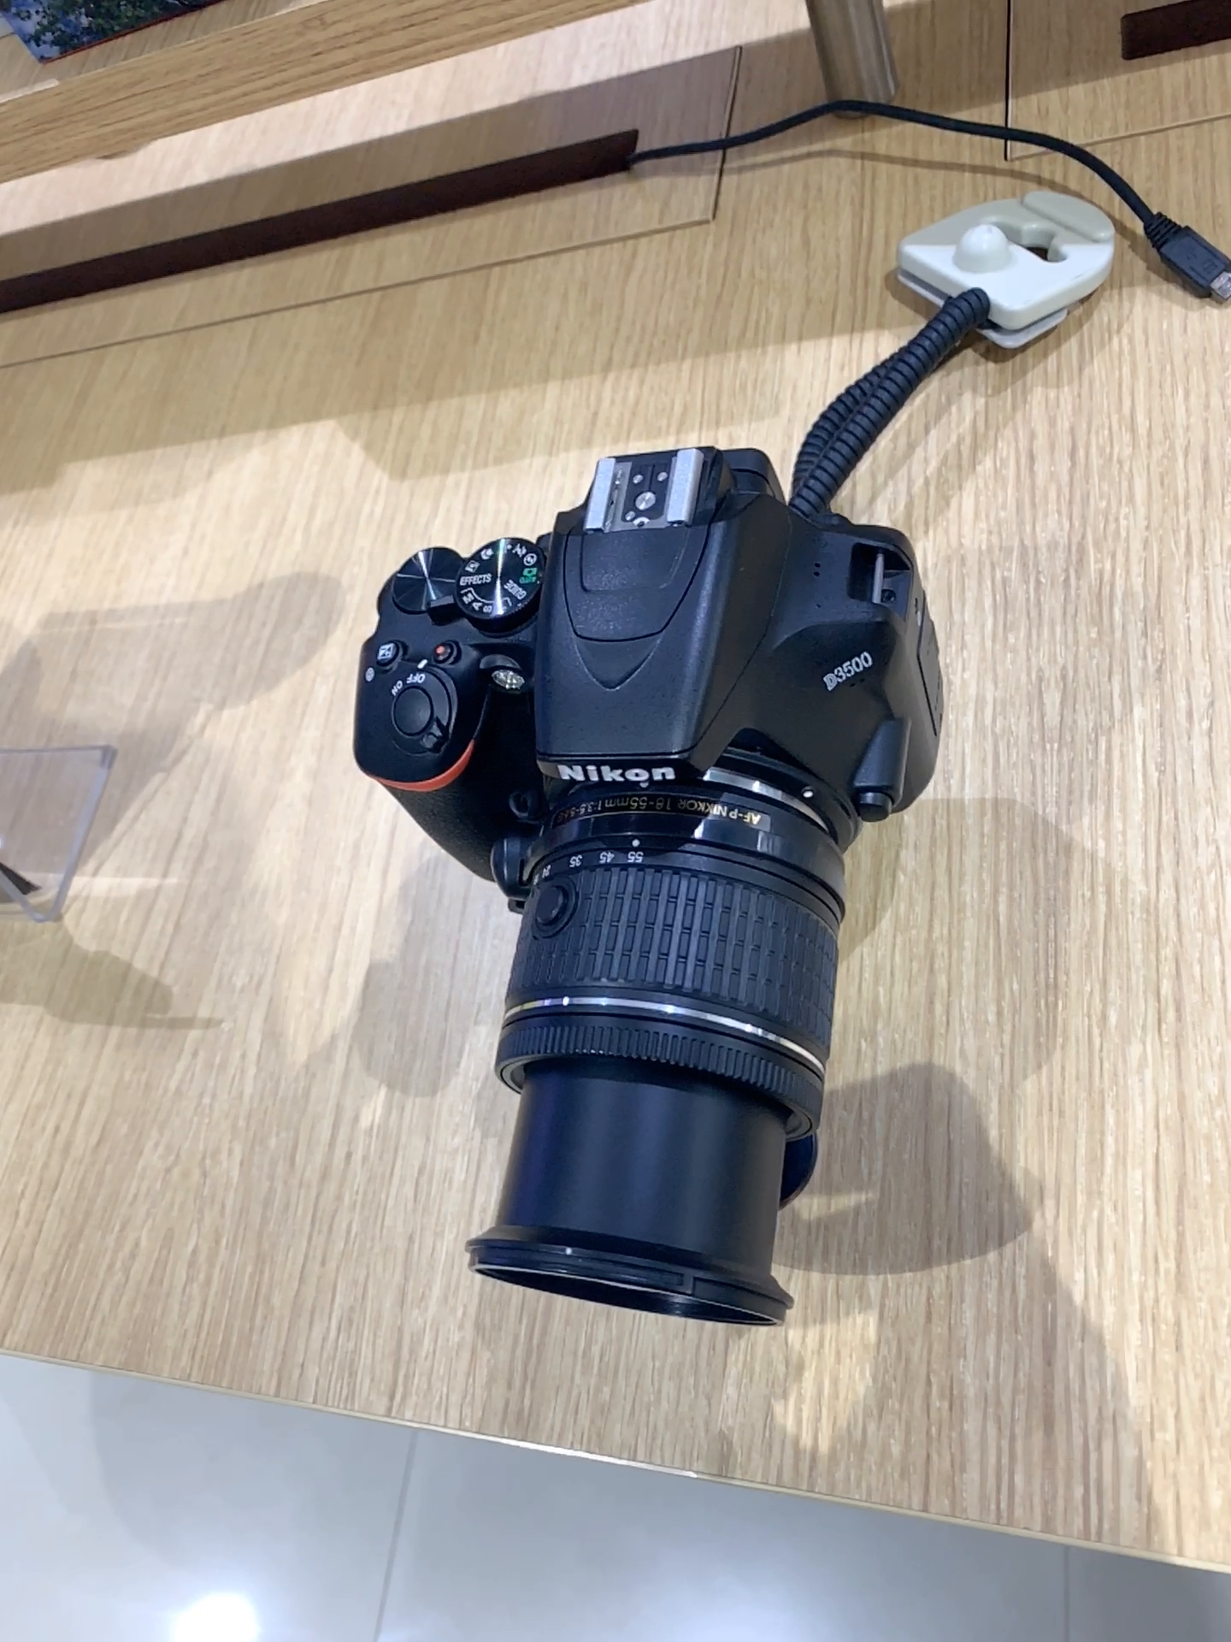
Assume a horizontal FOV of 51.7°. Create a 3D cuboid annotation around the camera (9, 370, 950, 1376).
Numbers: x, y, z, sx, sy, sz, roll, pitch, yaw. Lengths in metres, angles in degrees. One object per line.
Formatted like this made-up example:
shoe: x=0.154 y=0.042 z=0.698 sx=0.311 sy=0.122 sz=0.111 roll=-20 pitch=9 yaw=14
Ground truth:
camera: x=-0.007 y=0.016 z=0.229 sx=0.116 sy=0.100 sz=0.136 roll=-2 pitch=64 yaw=22
